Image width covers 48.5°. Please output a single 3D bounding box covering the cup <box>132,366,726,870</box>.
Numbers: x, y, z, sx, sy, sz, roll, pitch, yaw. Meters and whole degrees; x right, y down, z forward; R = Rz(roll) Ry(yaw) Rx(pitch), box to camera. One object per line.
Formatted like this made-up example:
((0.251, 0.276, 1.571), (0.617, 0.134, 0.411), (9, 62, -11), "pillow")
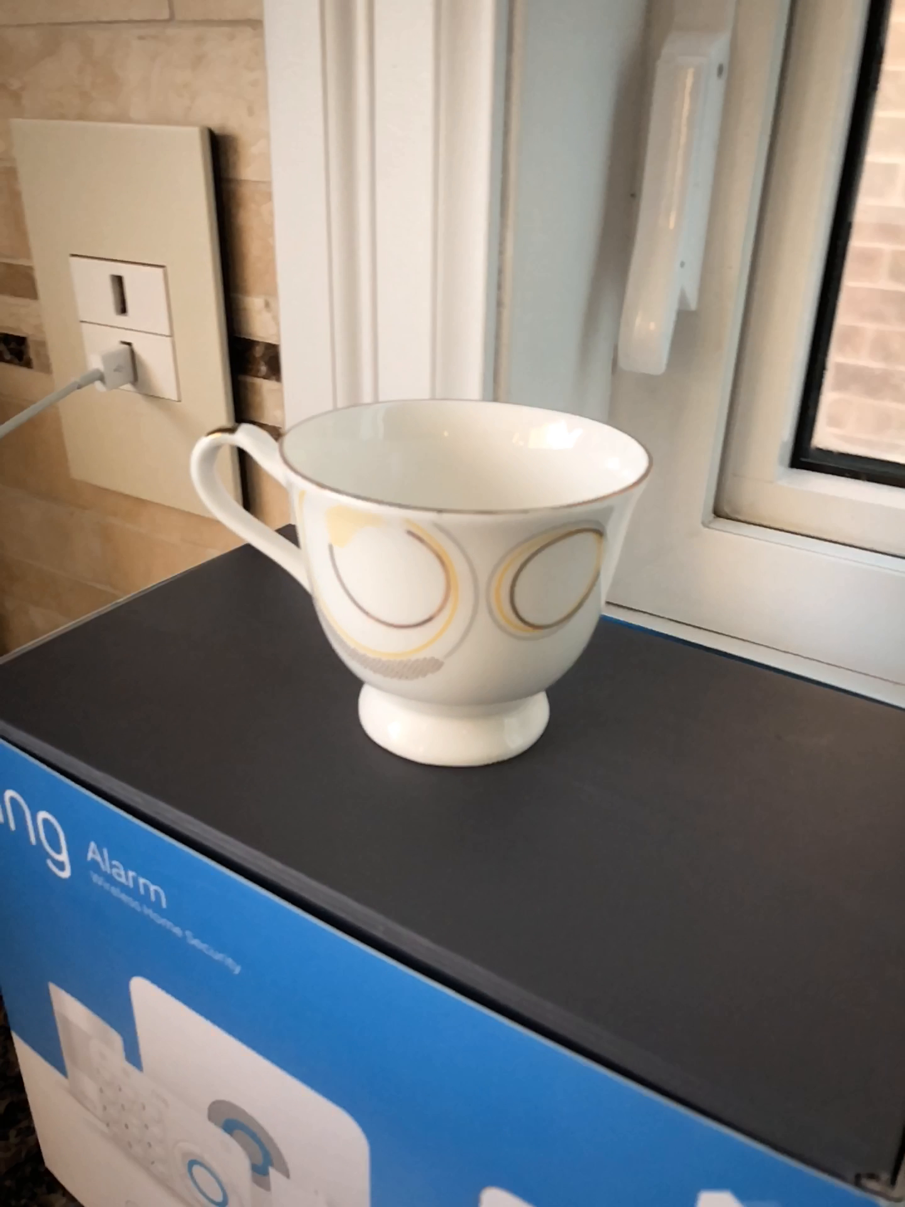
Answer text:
((-0.003, -0.006, 0.226), (0.100, 0.066, 0.077), (14, 30, 25), "cup")
